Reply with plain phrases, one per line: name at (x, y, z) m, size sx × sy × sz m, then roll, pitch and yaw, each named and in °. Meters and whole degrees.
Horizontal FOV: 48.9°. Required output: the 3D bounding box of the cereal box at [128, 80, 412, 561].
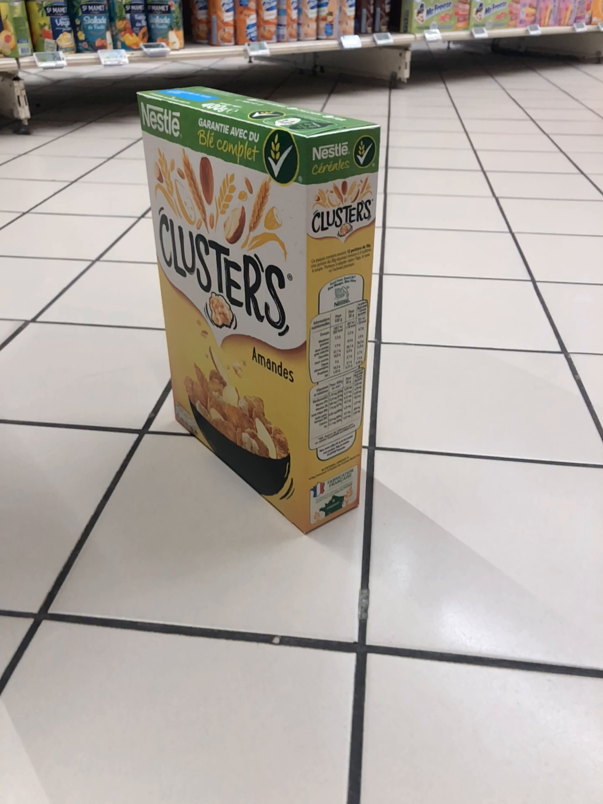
cereal box at (-0.032, -0.062, 0.462) m, size 0.060 × 0.268 × 0.210 m, roll -21°, pitch 38°, yaw -30°
